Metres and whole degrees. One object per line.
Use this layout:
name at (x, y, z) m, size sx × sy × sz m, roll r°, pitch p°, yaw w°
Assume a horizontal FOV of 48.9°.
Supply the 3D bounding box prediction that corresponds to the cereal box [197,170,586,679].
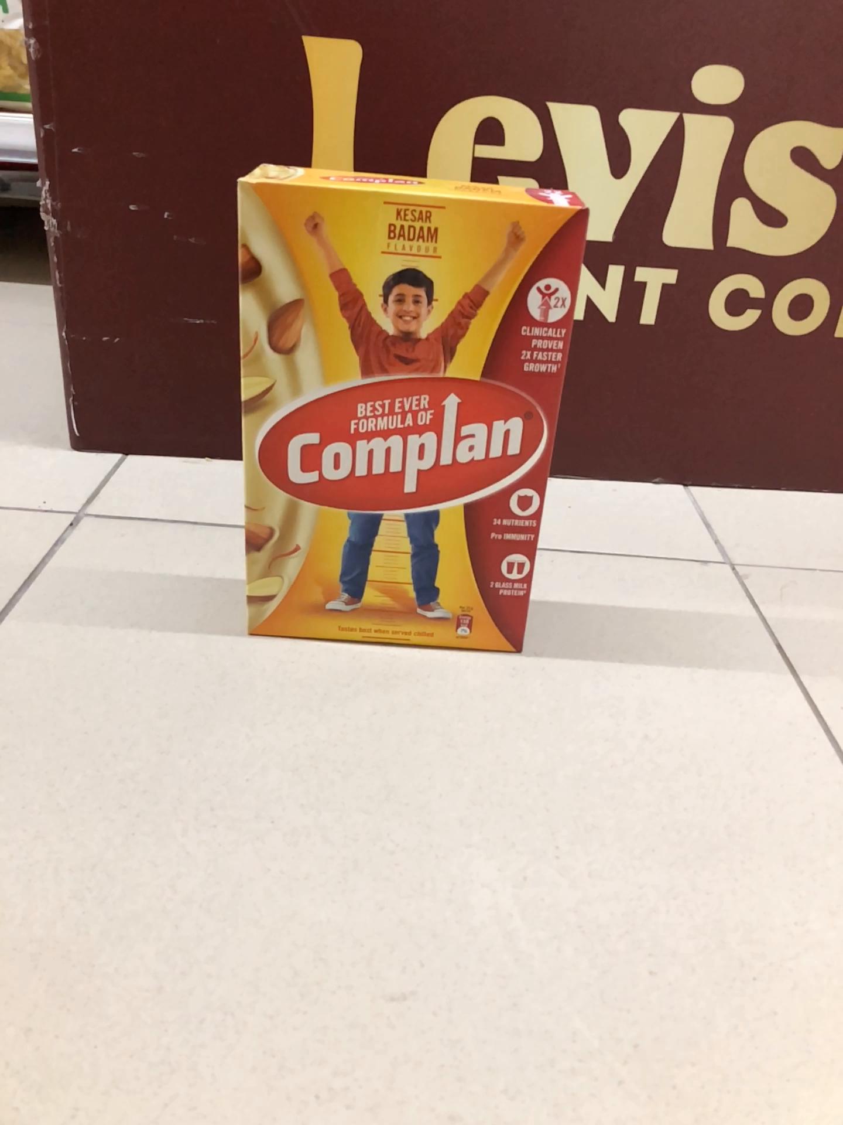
cereal box at (-0.019, -0.057, 0.435) m, size 0.150 × 0.219 × 0.060 m, roll 3°, pitch 28°, yaw -2°
